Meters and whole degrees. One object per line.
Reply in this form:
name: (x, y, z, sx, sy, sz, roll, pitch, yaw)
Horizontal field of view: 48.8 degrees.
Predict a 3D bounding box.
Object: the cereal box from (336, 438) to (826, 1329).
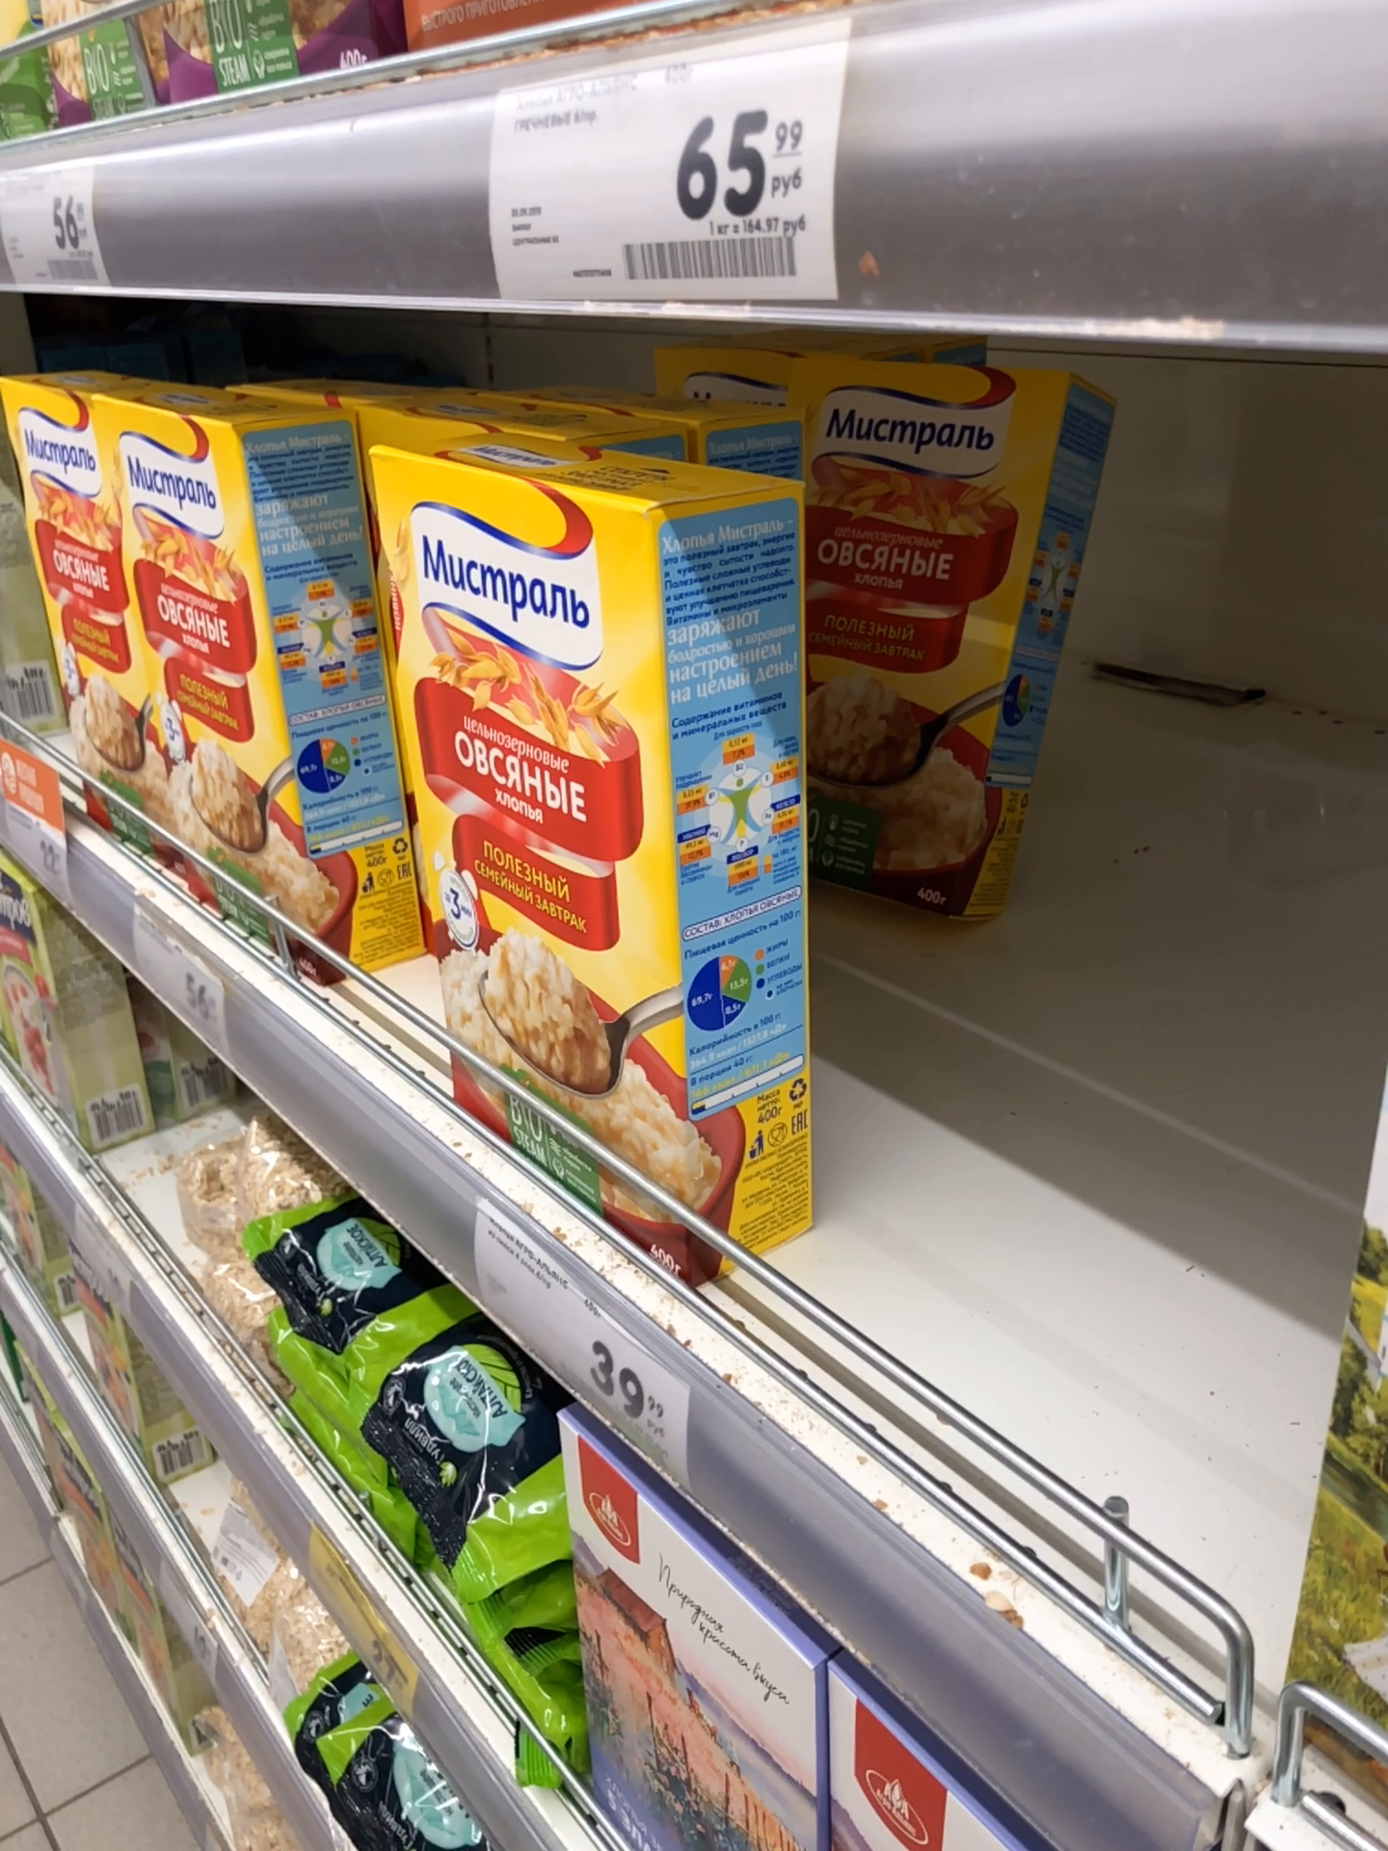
cereal box: (-0.032, -0.020, 0.430, 0.050, 0.209, 0.151, -18, 29, -33)
